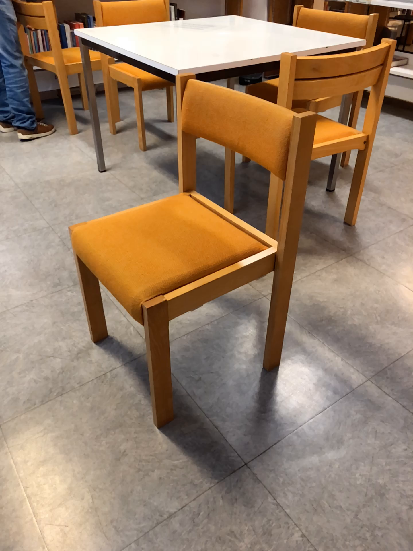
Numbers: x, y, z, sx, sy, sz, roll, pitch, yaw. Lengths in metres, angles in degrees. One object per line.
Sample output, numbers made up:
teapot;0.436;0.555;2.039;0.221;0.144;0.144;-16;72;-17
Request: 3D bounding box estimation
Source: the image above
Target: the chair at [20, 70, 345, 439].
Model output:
chair;-0.076;-0.098;1.225;0.522;0.696;0.551;-23;42;-28
